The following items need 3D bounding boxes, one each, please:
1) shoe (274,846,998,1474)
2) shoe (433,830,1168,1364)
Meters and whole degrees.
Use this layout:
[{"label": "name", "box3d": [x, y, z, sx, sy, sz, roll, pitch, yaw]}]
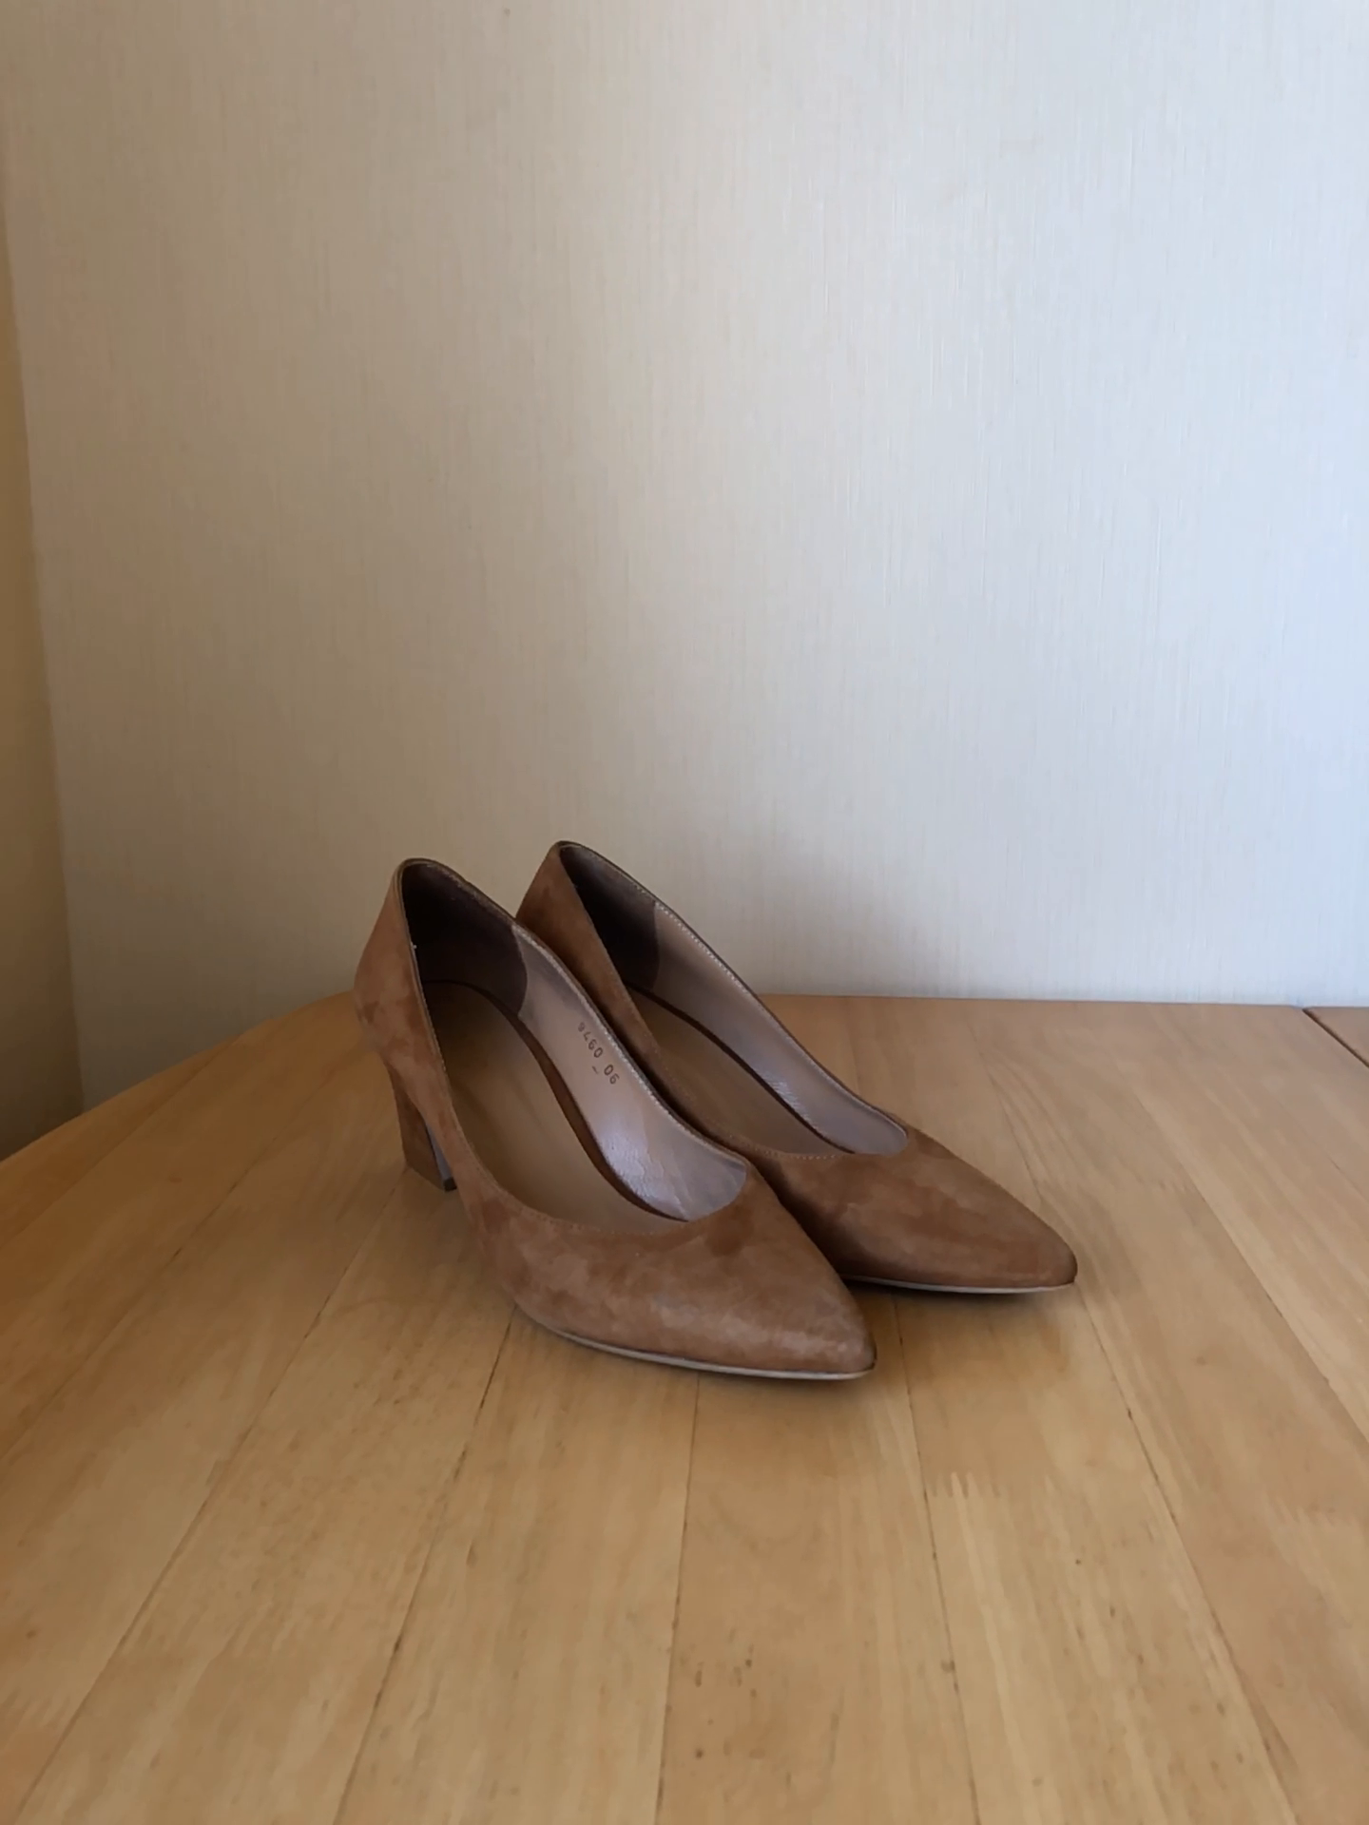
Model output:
[{"label": "shoe", "box3d": [-0.031, 0.057, 0.484, 0.089, 0.110, 0.250, -11, 17, -39]}, {"label": "shoe", "box3d": [0.027, 0.047, 0.541, 0.260, 0.110, 0.089, 13, 19, 43]}]
